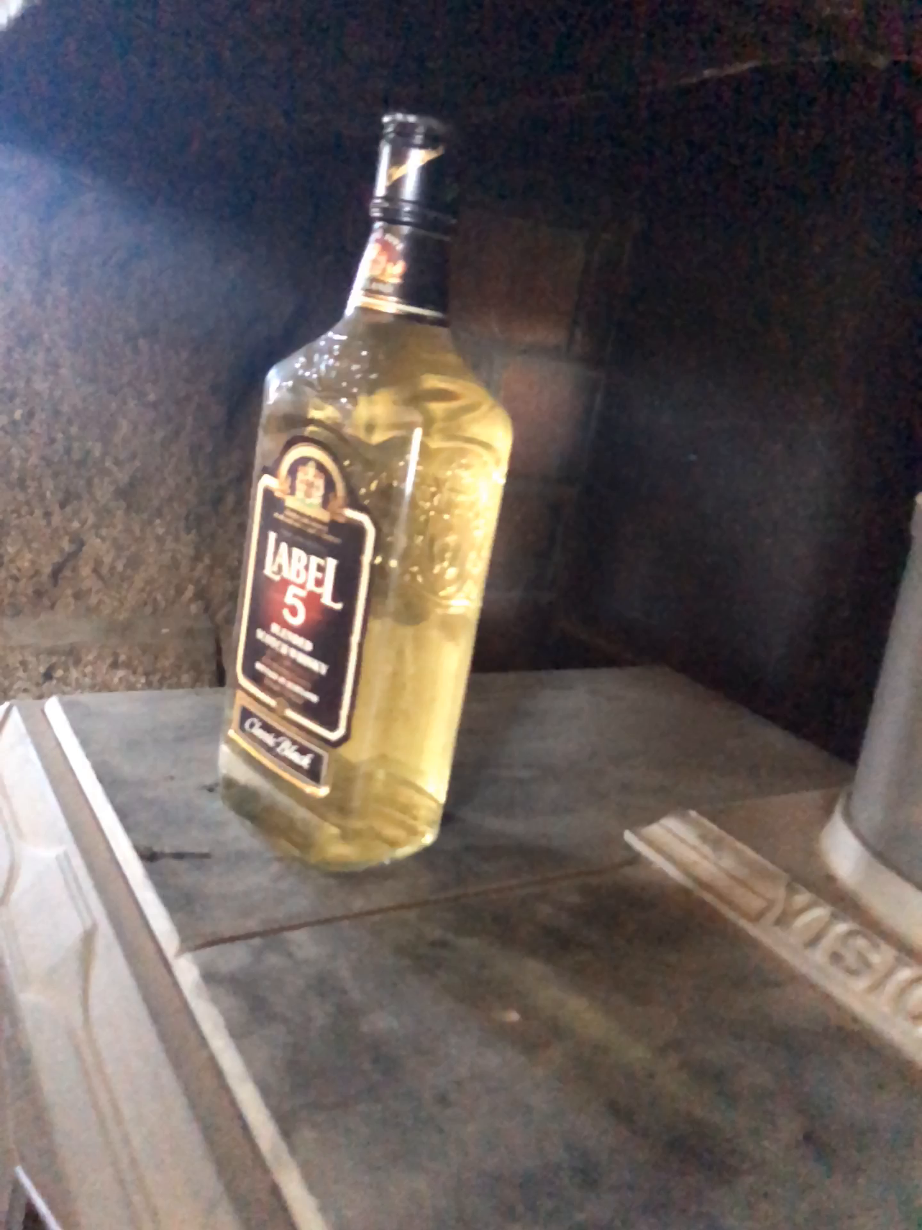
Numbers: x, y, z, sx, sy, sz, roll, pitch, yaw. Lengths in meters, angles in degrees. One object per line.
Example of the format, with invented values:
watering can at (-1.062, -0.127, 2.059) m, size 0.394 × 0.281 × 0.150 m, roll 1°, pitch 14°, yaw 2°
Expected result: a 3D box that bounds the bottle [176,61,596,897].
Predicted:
bottle at (-0.036, -0.046, 0.356) m, size 0.060 × 0.249 × 0.110 m, roll -4°, pitch 20°, yaw -43°
